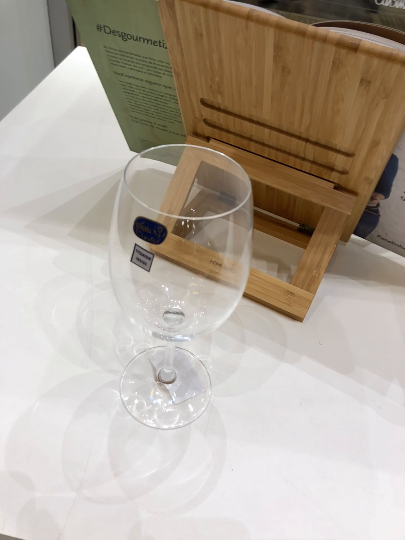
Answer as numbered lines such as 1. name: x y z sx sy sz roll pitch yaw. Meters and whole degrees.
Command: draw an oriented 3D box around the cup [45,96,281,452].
1. cup: -0.027 0.022 0.315 0.100 0.238 0.091 14 45 5
